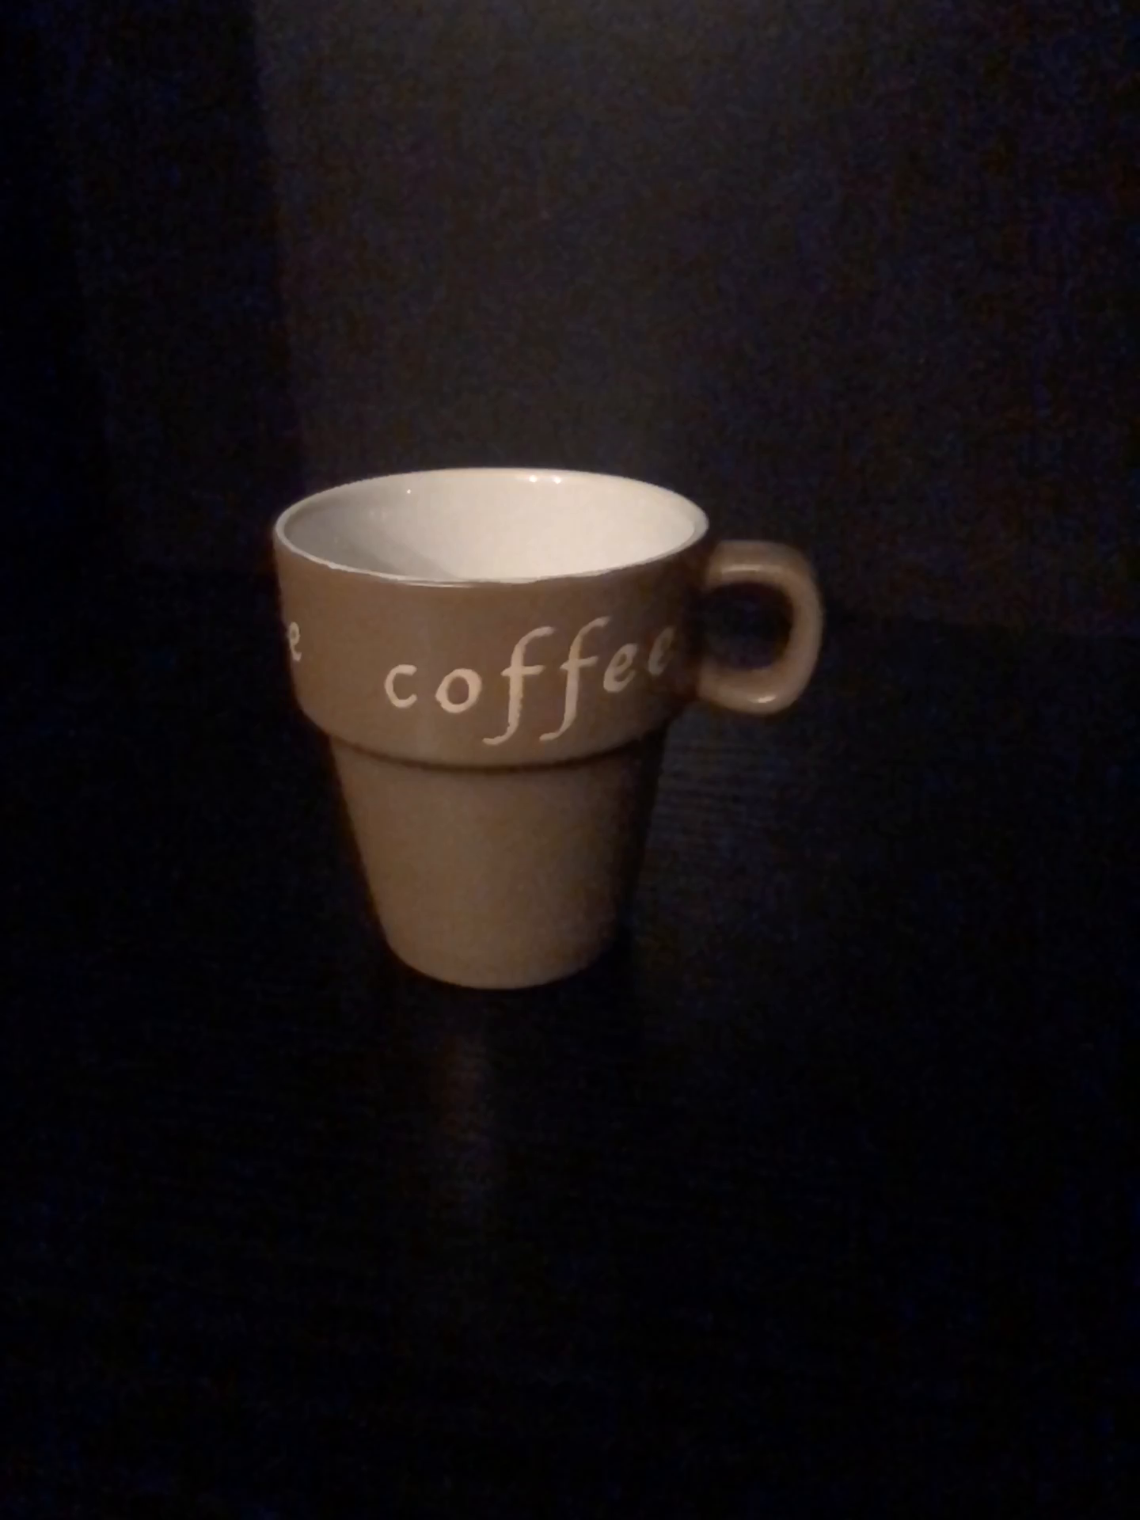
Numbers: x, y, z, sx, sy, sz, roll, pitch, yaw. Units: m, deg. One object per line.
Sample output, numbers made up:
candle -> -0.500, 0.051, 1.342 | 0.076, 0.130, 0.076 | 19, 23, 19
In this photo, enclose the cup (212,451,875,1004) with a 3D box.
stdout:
cup -> -0.001, -0.012, 0.258 | 0.107, 0.082, 0.080 | 2, 26, 5
